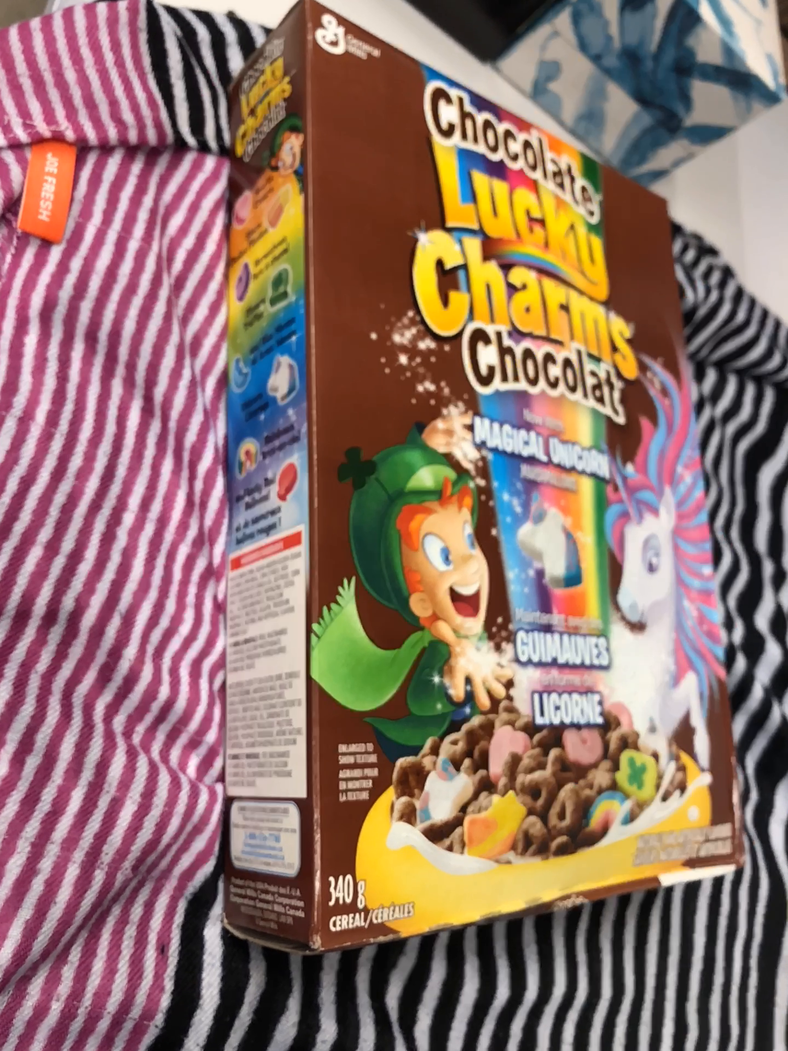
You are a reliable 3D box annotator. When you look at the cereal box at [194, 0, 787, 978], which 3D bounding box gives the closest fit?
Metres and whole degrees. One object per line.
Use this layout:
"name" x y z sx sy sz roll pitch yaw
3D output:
"cereal box" 0.044 -0.020 0.321 0.211 0.060 0.290 9 74 -37
